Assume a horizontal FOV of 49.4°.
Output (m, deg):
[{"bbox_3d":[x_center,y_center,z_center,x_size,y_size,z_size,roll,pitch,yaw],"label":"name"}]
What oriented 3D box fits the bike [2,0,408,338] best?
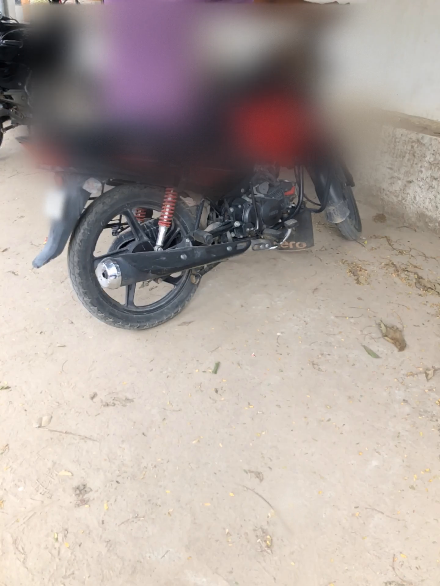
[{"bbox_3d":[0.017,-0.859,2.242,0.741,1.086,1.707,28,45,37],"label":"bike"}]
